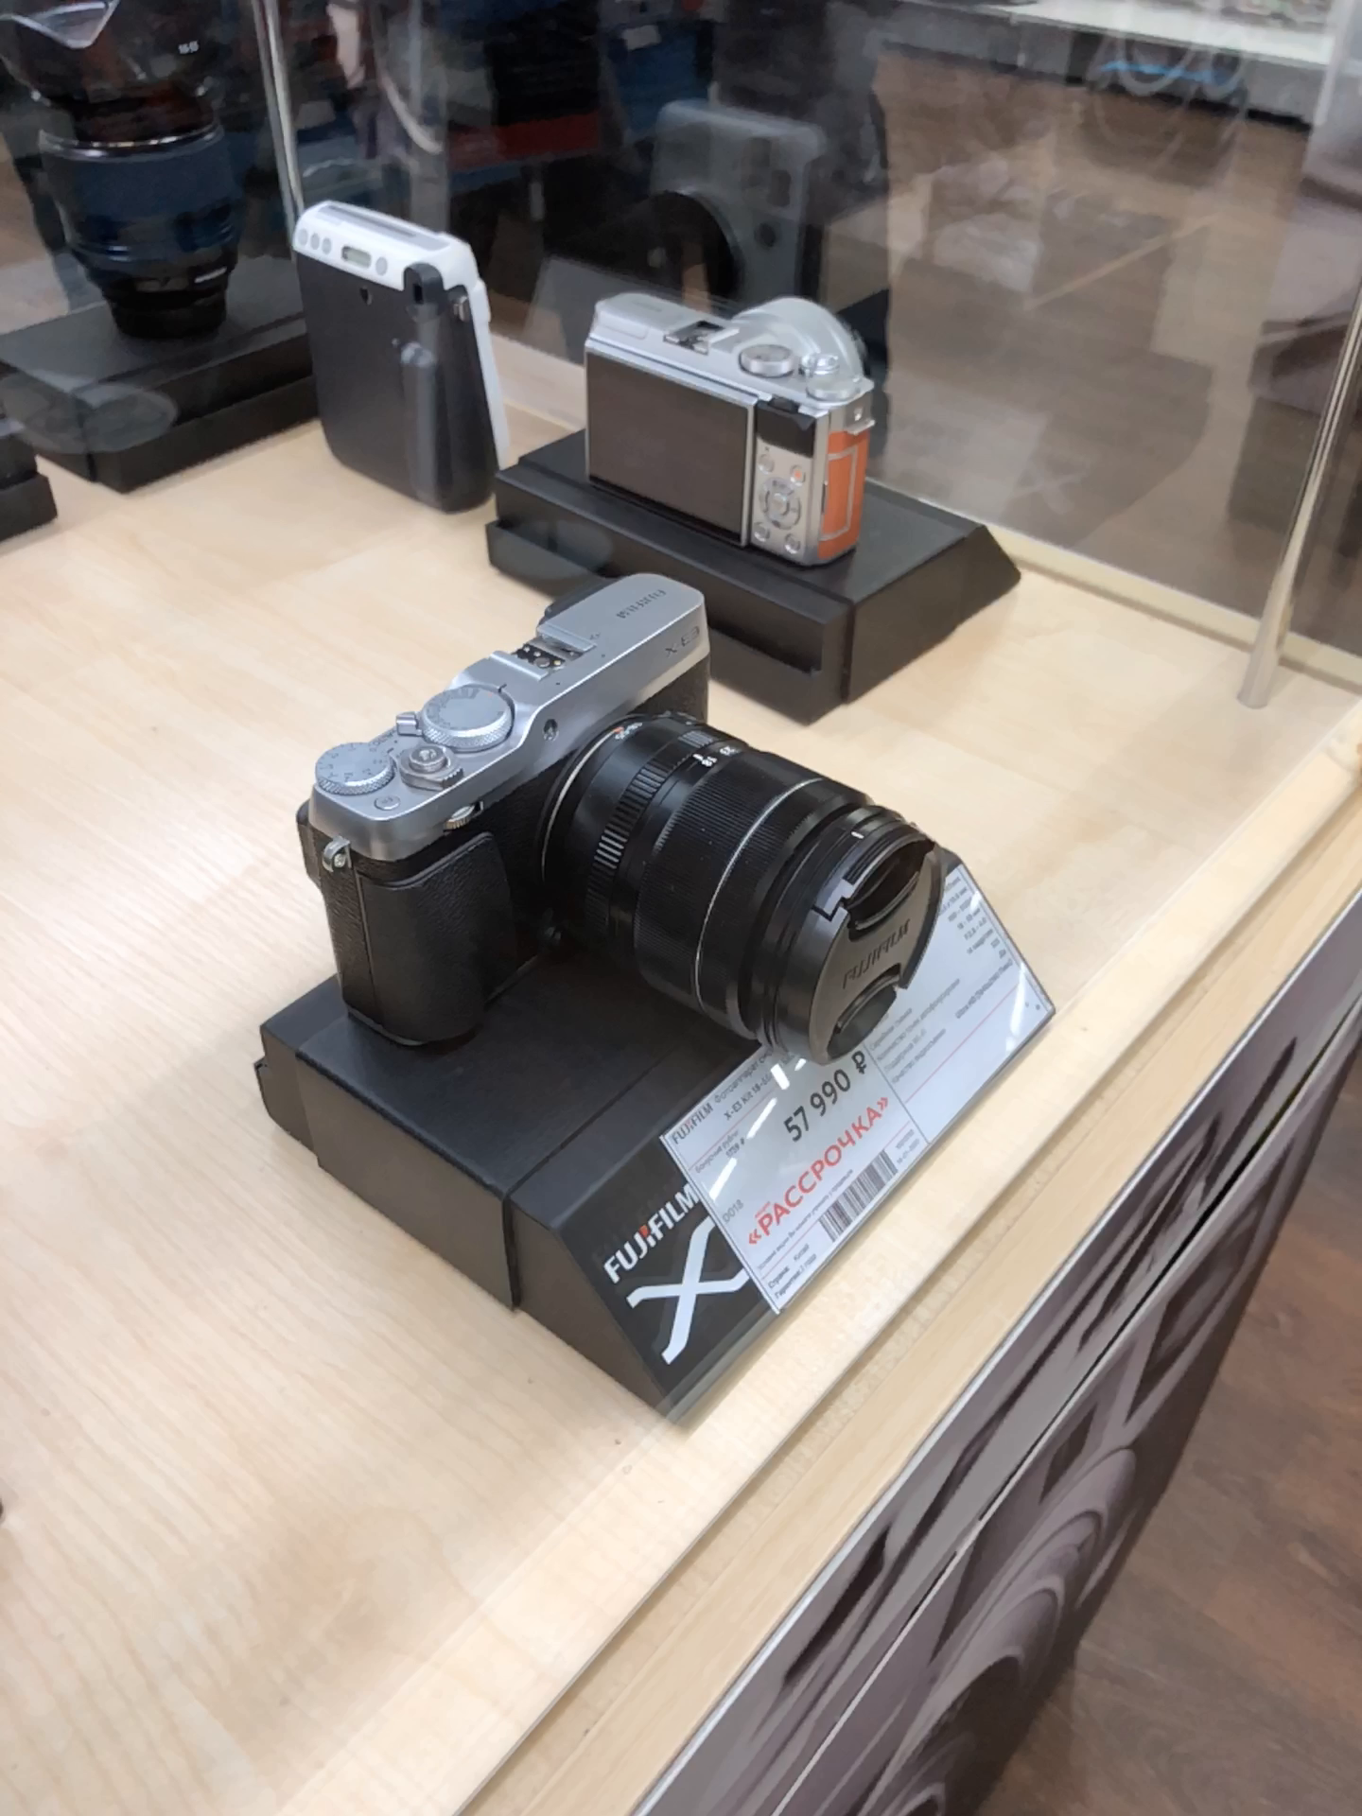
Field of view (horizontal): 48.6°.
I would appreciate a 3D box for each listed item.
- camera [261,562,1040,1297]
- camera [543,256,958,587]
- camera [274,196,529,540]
[{"bbox_3d":[-0.004,-0.005,0.361,0.116,0.080,0.132,28,47,28],"label":"camera"},{"bbox_3d":[0.023,-0.187,0.569,0.132,0.068,0.077,30,48,30],"label":"camera"},{"bbox_3d":[-0.115,-0.226,0.631,0.088,0.109,0.045,31,51,31],"label":"camera"}]
